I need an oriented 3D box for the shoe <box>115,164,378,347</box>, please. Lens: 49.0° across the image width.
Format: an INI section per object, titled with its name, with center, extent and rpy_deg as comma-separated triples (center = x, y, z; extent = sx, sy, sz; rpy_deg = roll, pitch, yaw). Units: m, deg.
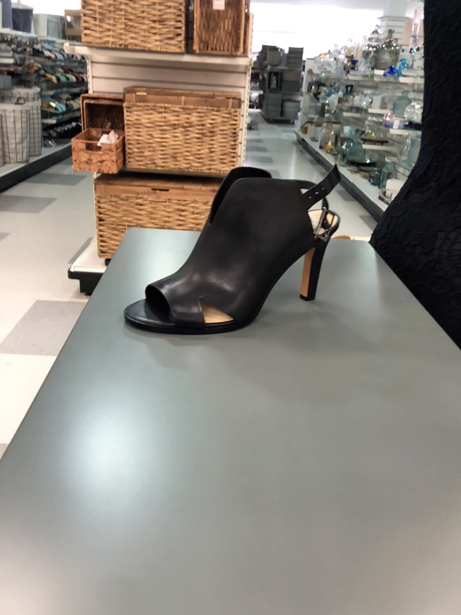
[shoe]
center = 0.012, -0.063, 0.523
extent = 0.240, 0.152, 0.092
rpy_deg = -6, 25, -21
